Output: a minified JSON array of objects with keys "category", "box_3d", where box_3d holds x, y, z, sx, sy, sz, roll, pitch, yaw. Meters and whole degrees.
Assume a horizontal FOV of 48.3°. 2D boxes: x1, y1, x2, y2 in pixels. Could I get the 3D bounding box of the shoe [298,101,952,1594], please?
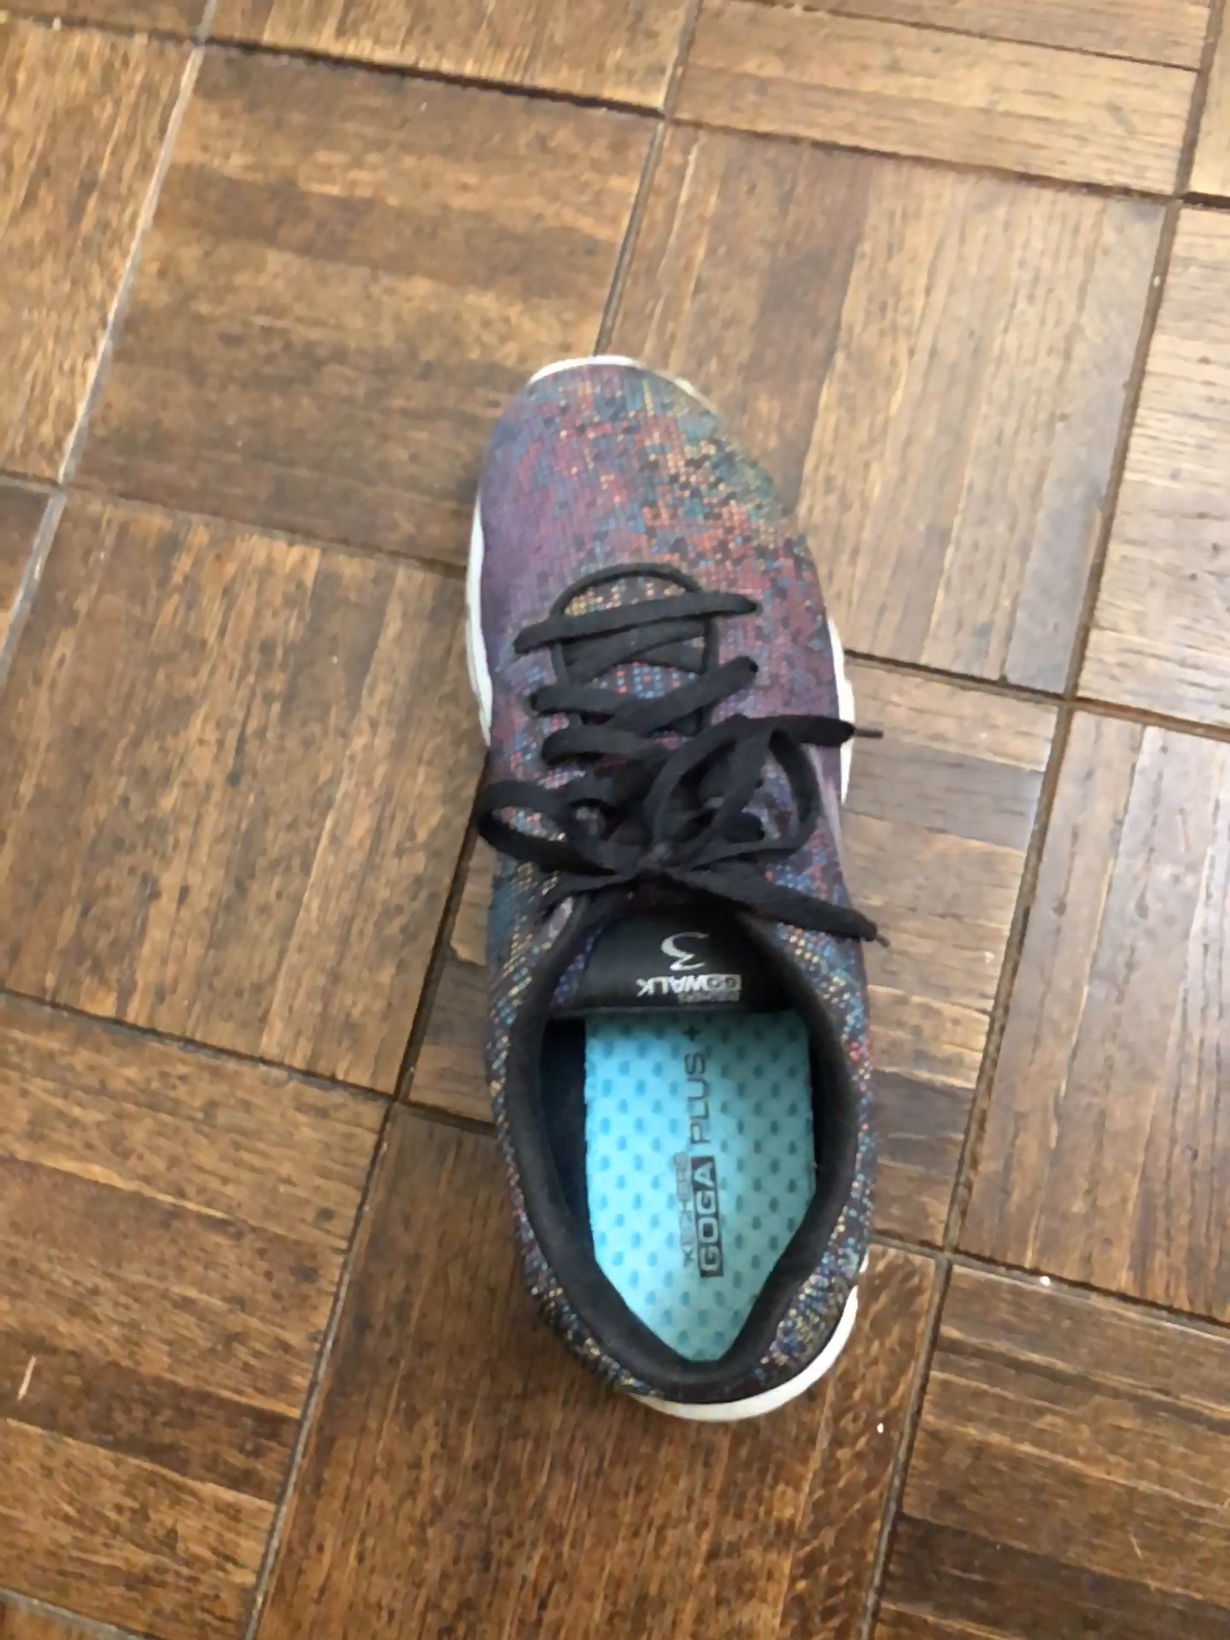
[{"category":"shoe","box_3d":[0.002,0.005,0.330,0.110,0.120,0.290,-5,80,6]}]
